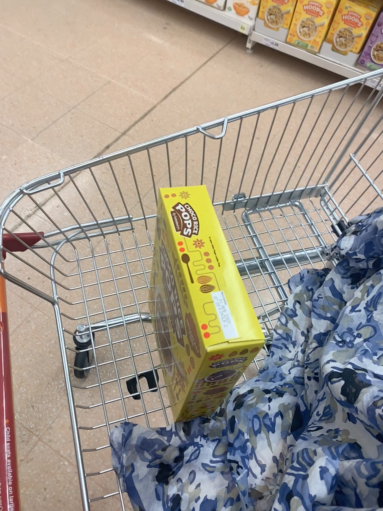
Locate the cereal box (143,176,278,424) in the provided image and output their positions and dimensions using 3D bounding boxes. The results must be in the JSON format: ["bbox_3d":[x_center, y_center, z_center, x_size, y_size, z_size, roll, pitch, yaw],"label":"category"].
[{"bbox_3d":[-0.003,0.071,0.489,0.060,0.268,0.201,-9,59,-16],"label":"cereal box"}]
